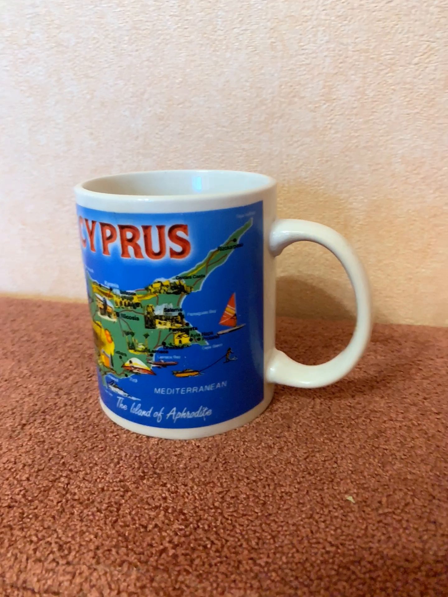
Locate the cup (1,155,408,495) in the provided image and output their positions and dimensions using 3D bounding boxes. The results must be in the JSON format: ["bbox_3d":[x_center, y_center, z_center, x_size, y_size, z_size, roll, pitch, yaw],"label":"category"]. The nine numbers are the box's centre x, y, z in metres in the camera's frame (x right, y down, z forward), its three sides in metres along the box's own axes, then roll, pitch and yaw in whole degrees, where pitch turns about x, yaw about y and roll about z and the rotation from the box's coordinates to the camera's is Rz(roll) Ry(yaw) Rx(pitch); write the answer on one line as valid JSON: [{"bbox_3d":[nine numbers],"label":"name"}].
[{"bbox_3d":[0.002,-0.002,0.182,0.119,0.091,0.085,5,24,18],"label":"cup"}]
